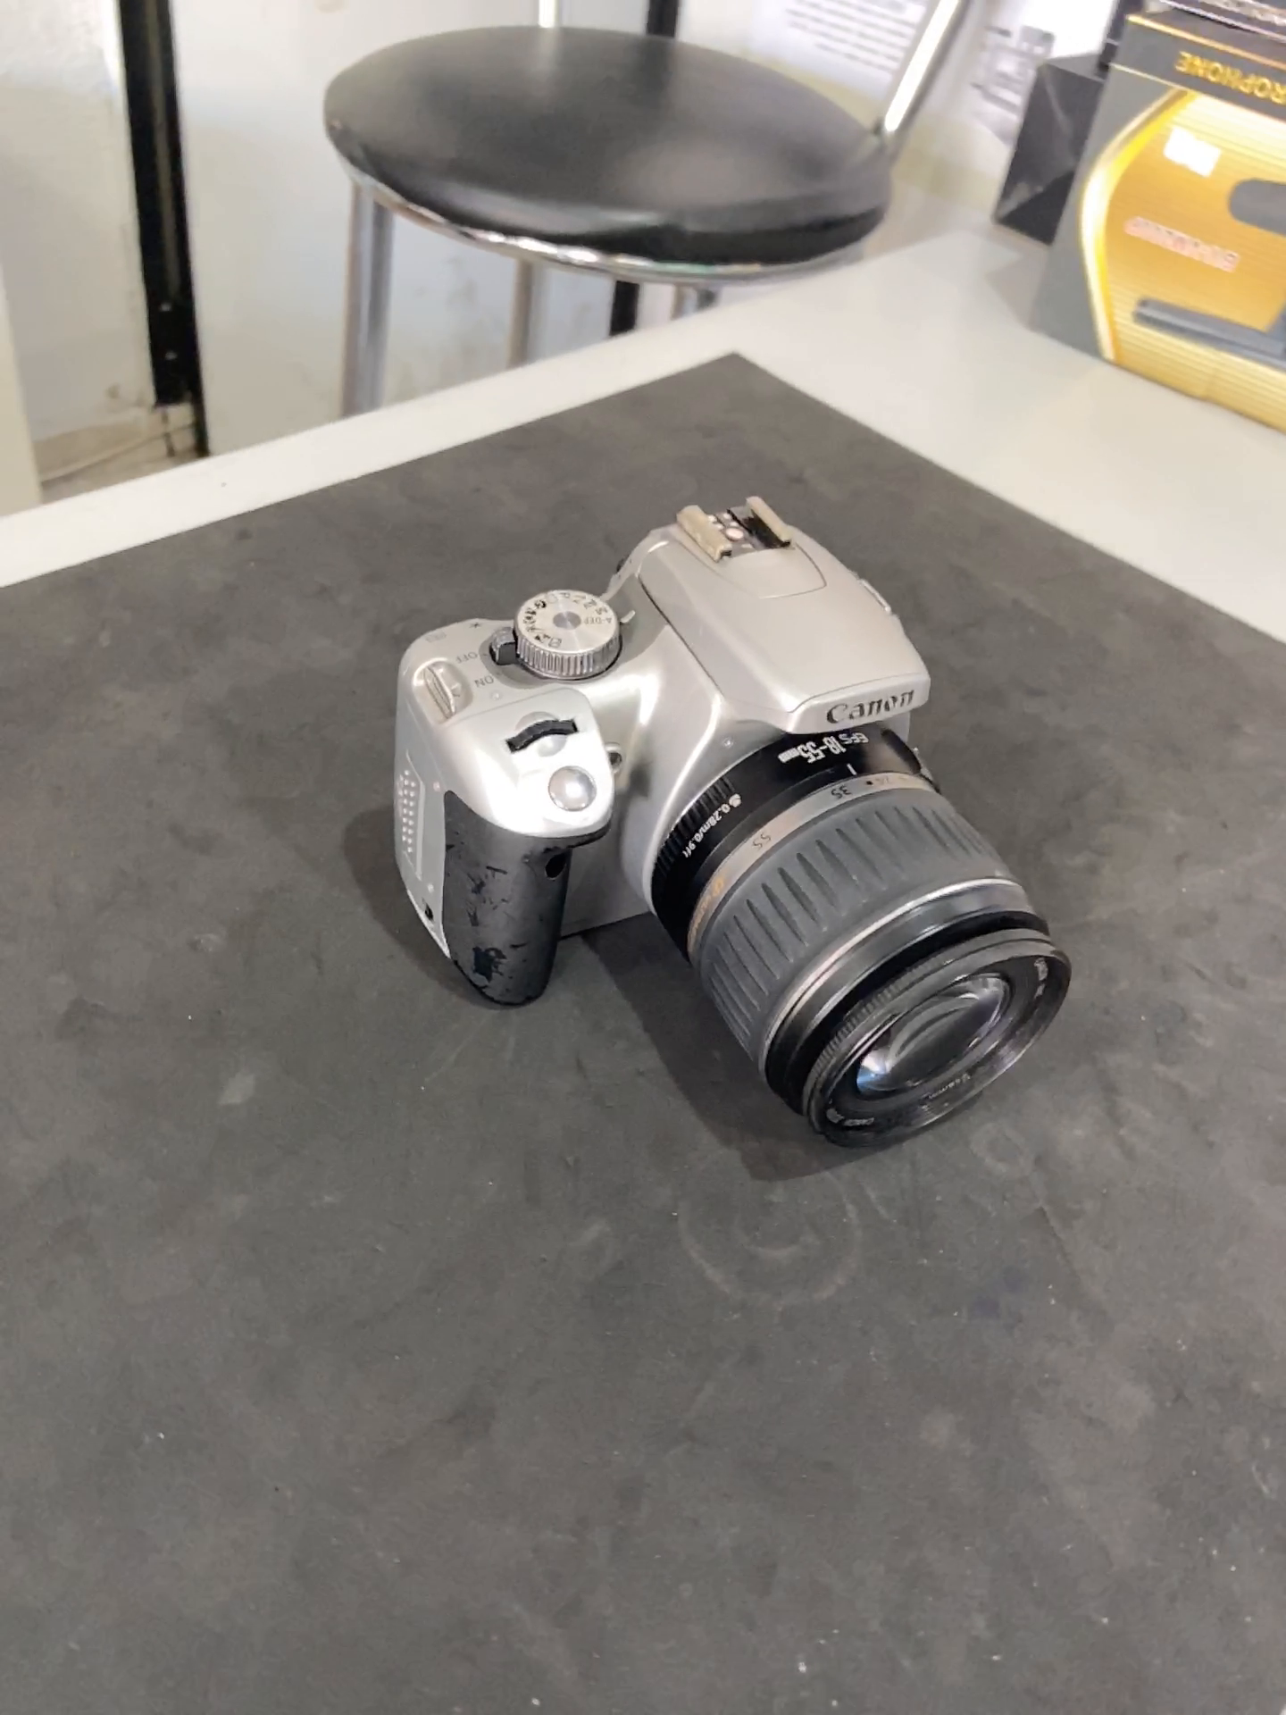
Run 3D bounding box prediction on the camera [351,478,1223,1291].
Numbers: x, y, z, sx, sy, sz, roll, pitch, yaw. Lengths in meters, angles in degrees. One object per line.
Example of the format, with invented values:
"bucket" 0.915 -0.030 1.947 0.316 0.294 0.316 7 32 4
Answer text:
"camera" 0.020 -0.007 0.297 0.120 0.080 0.140 -18 49 -27
